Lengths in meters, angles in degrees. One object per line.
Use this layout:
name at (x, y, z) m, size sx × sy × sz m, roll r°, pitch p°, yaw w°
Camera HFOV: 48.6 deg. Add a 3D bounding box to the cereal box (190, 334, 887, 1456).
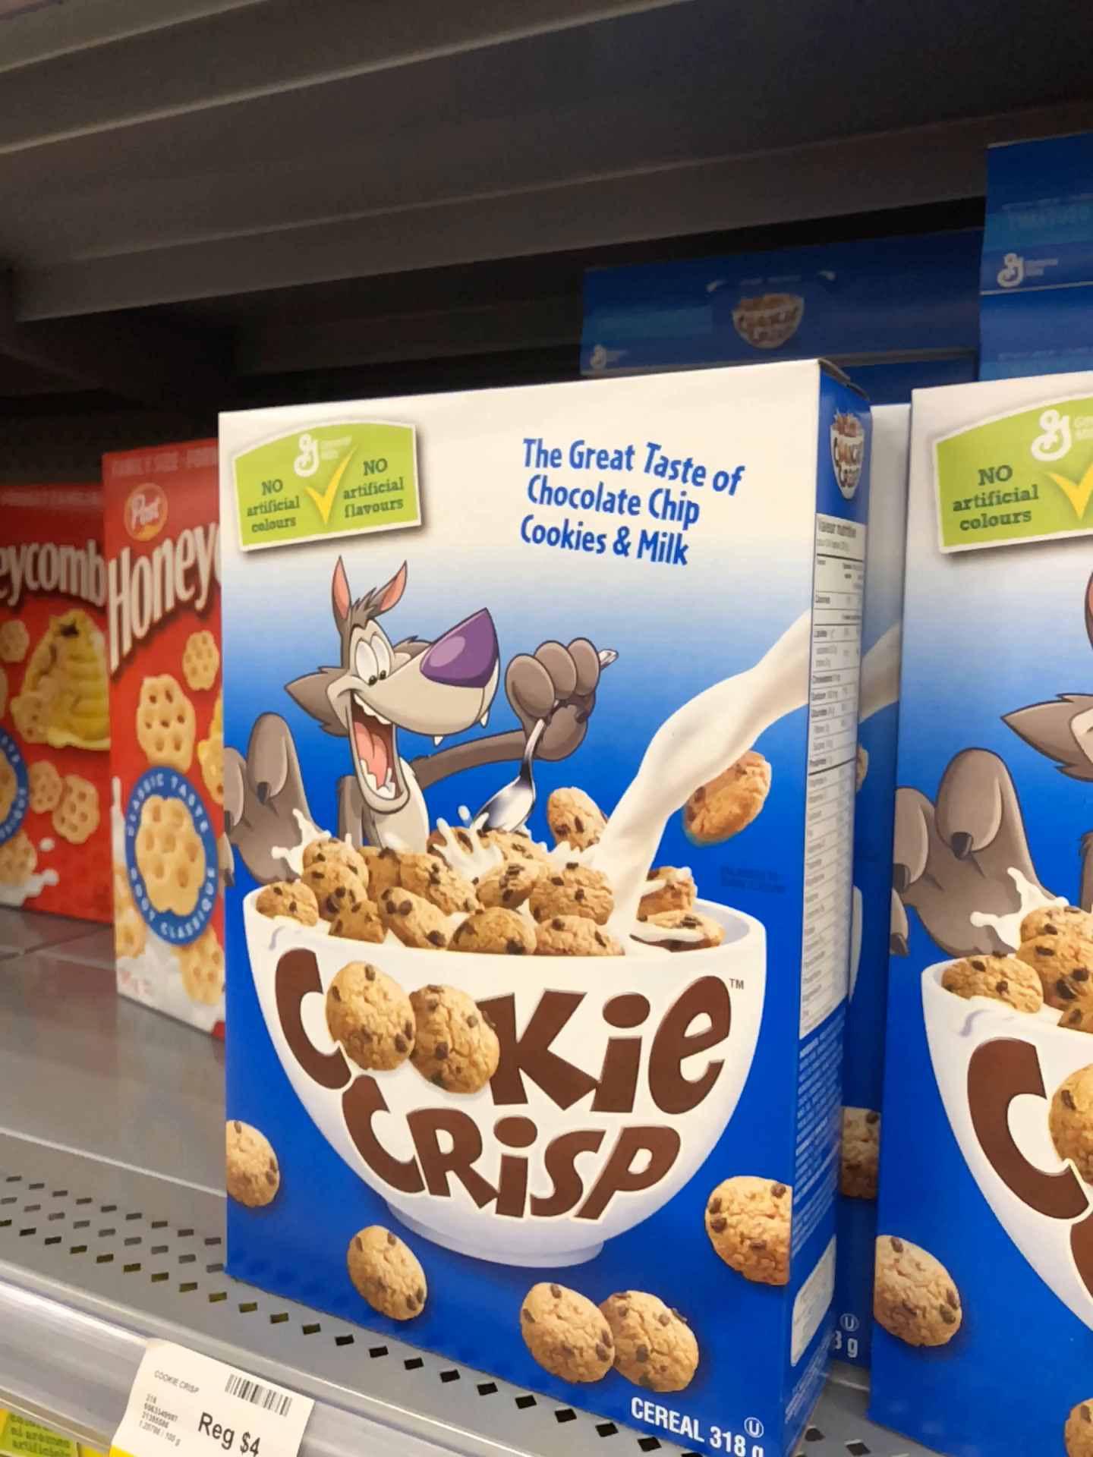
cereal box at (-0.009, 0.040, 0.361) m, size 0.200 × 0.280 × 0.050 m, roll 3°, pitch 6°, yaw 27°
